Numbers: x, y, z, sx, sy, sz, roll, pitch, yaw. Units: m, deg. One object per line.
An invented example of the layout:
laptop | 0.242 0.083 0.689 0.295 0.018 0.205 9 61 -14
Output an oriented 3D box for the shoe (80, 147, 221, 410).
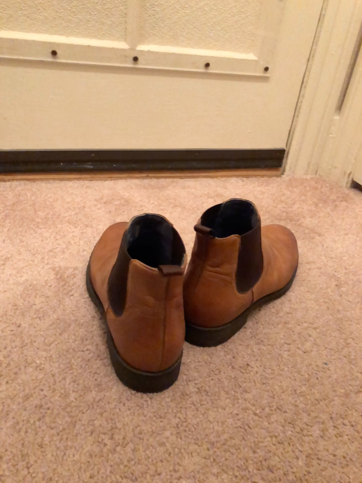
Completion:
shoe | -0.064 0.015 0.502 0.109 0.165 0.314 -2 33 -15

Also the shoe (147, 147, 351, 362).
shoe | 0.105 -0.007 0.555 0.109 0.165 0.313 28 37 30
